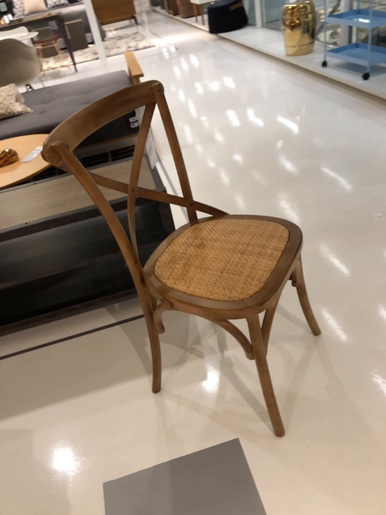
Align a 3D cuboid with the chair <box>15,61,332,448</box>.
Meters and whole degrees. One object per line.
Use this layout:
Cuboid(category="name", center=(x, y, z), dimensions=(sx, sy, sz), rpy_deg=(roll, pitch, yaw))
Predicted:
Cuboid(category="chair", center=(0.045, -0.016, 1.222), dimensions=(0.571, 0.863, 0.503), rpy_deg=(9, 40, 28))
